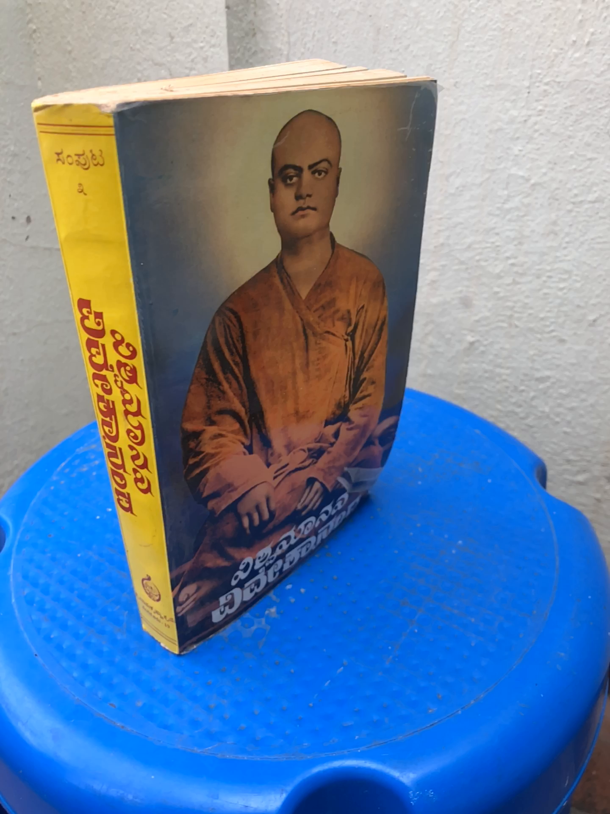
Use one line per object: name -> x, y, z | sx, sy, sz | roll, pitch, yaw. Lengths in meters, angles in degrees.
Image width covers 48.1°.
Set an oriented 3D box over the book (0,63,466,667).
book -> -0.010, -0.031, 0.293 | 0.050, 0.199, 0.191 | 21, 36, 37
